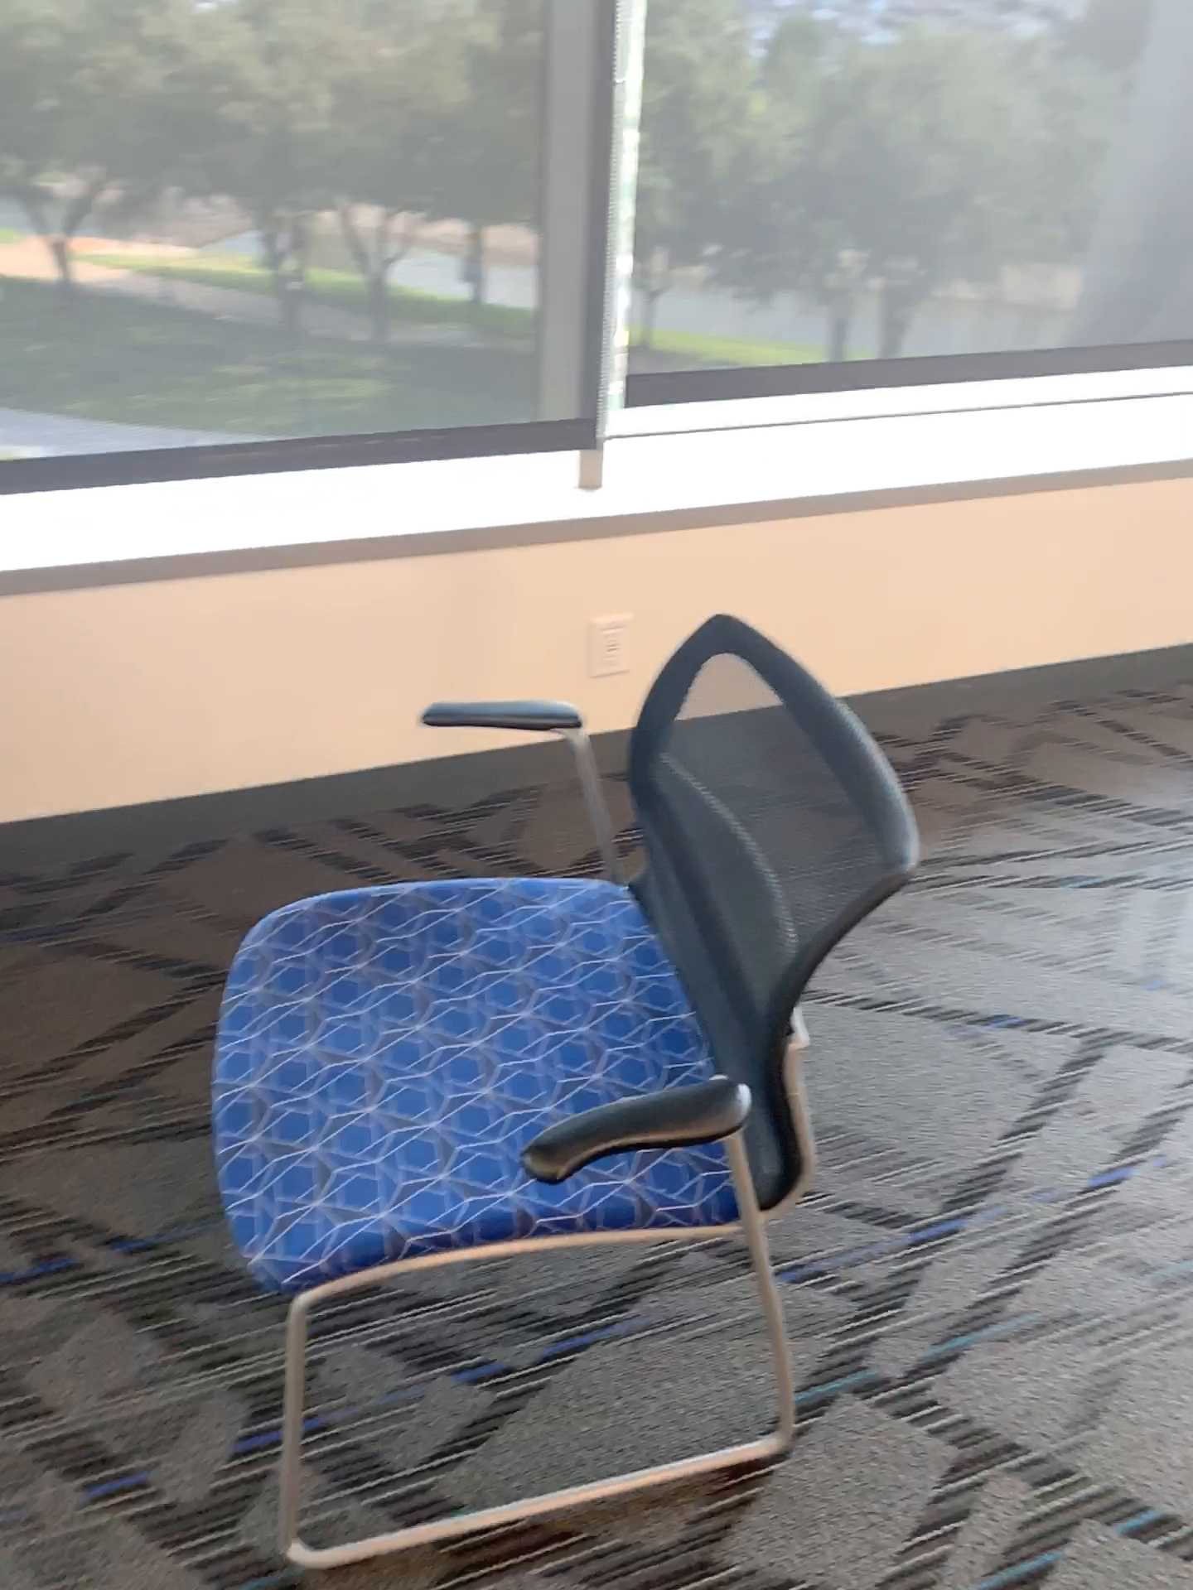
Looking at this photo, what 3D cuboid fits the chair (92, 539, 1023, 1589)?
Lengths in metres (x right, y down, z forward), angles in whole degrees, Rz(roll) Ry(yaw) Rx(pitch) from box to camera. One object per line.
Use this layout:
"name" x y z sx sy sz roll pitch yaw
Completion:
"chair" -0.082 0.237 1.169 0.580 0.763 0.535 -6 37 -13
